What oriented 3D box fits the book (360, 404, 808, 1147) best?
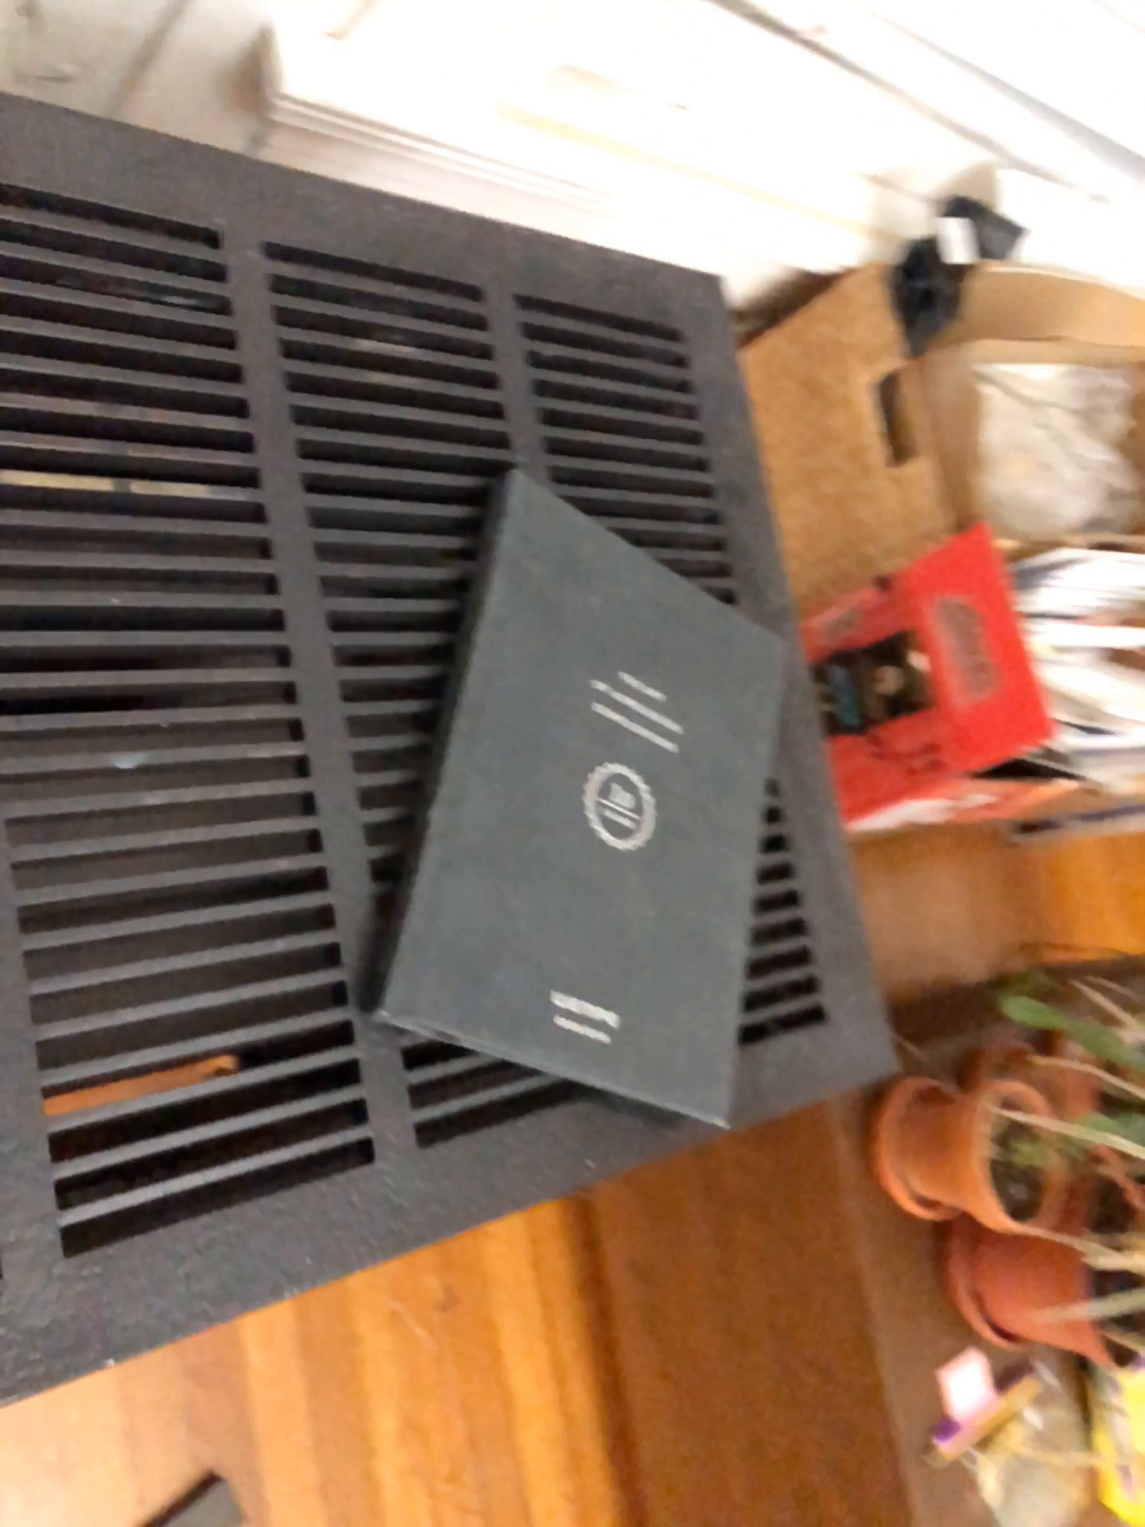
[{"bbox_3d":[0.020,0.004,0.494,0.160,0.020,0.251,26,61,-31],"label":"book"}]
